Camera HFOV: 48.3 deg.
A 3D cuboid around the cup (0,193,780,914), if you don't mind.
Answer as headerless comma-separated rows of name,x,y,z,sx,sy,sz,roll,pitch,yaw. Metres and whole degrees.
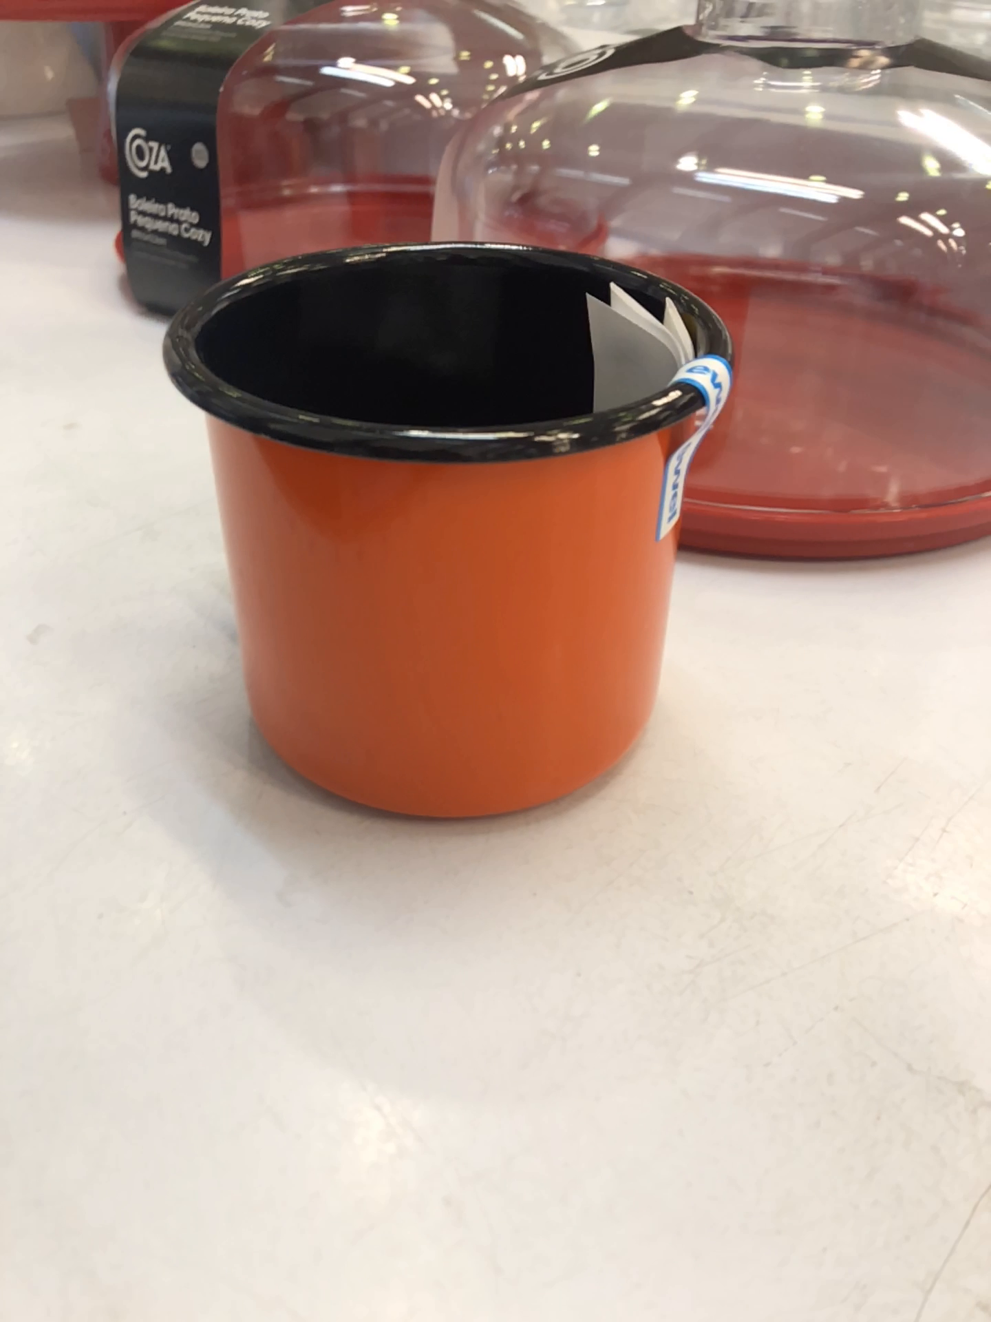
cup,-0.023,-0.031,0.200,0.080,0.069,0.110,-29,45,-34
